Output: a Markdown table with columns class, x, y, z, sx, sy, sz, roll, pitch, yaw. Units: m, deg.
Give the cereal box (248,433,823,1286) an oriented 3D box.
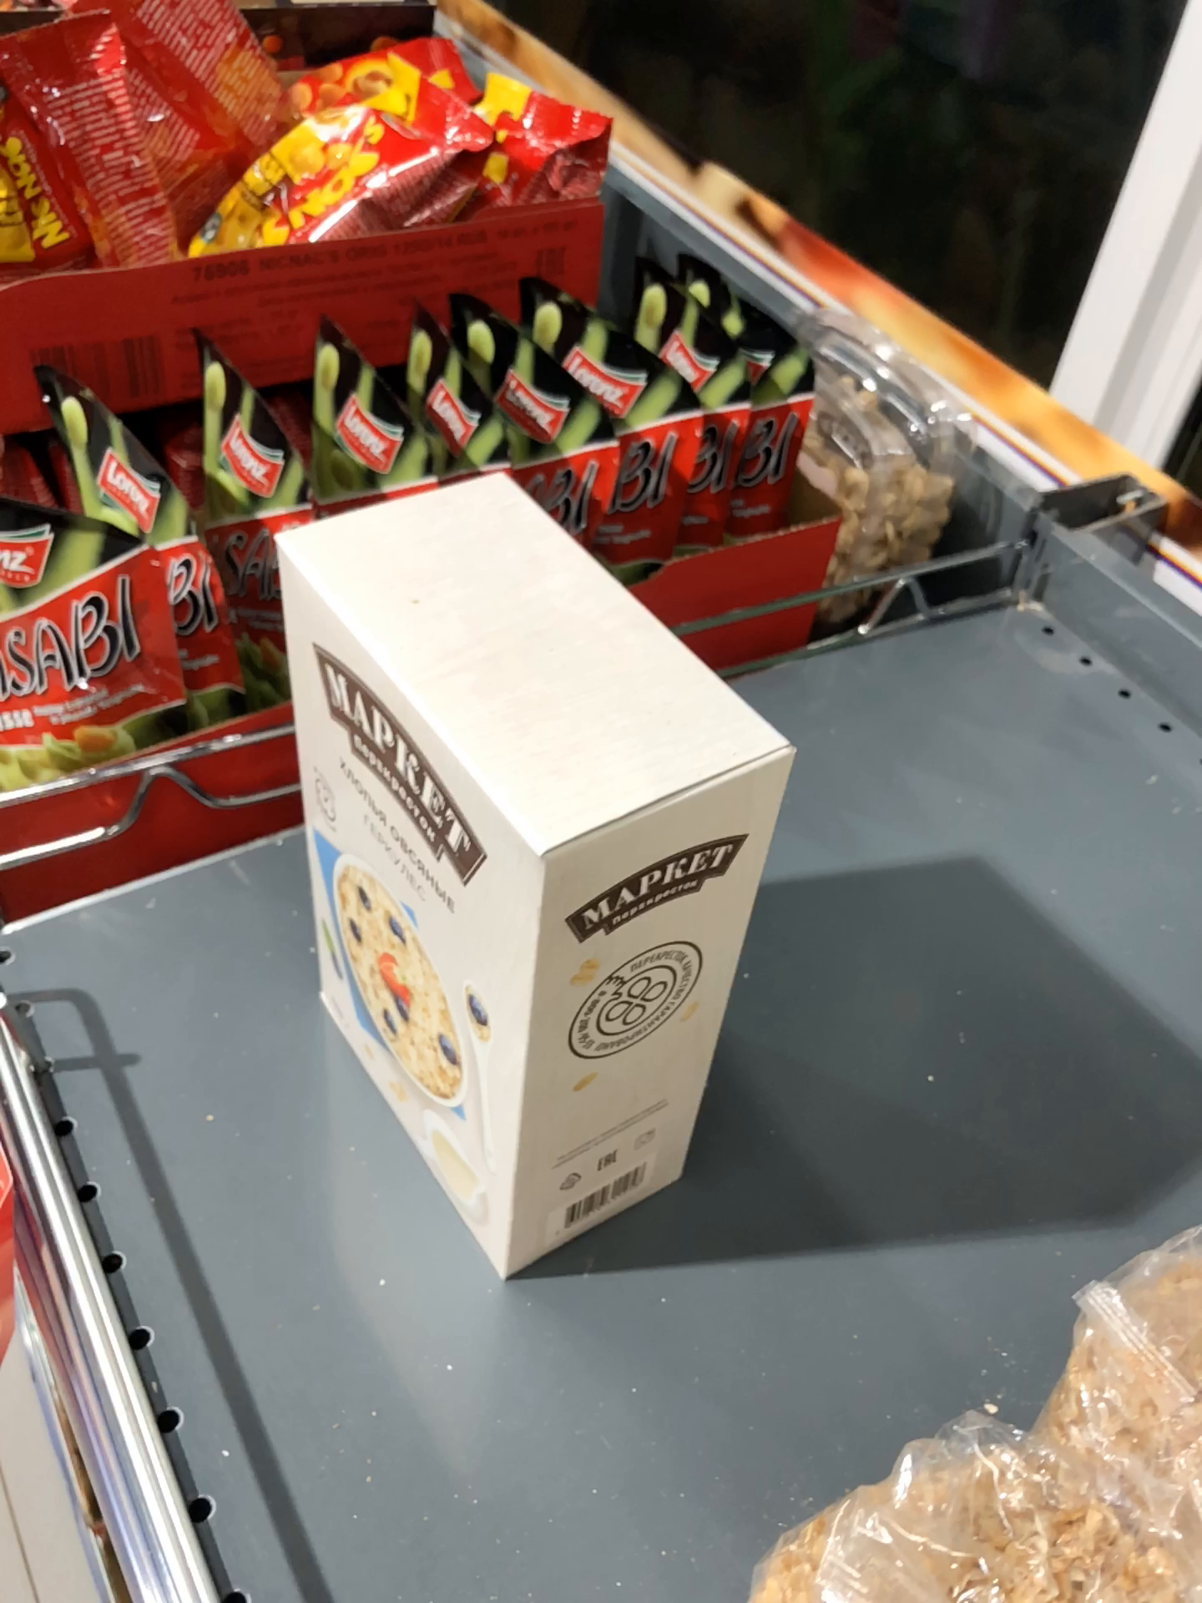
| class | x | y | z | sx | sy | sz | roll | pitch | yaw |
| --- | --- | --- | --- | --- | --- | --- | --- | --- | --- |
| cereal box | -0.027 | 0.021 | 0.370 | 0.070 | 0.189 | 0.130 | -24 | 53 | -27 |
